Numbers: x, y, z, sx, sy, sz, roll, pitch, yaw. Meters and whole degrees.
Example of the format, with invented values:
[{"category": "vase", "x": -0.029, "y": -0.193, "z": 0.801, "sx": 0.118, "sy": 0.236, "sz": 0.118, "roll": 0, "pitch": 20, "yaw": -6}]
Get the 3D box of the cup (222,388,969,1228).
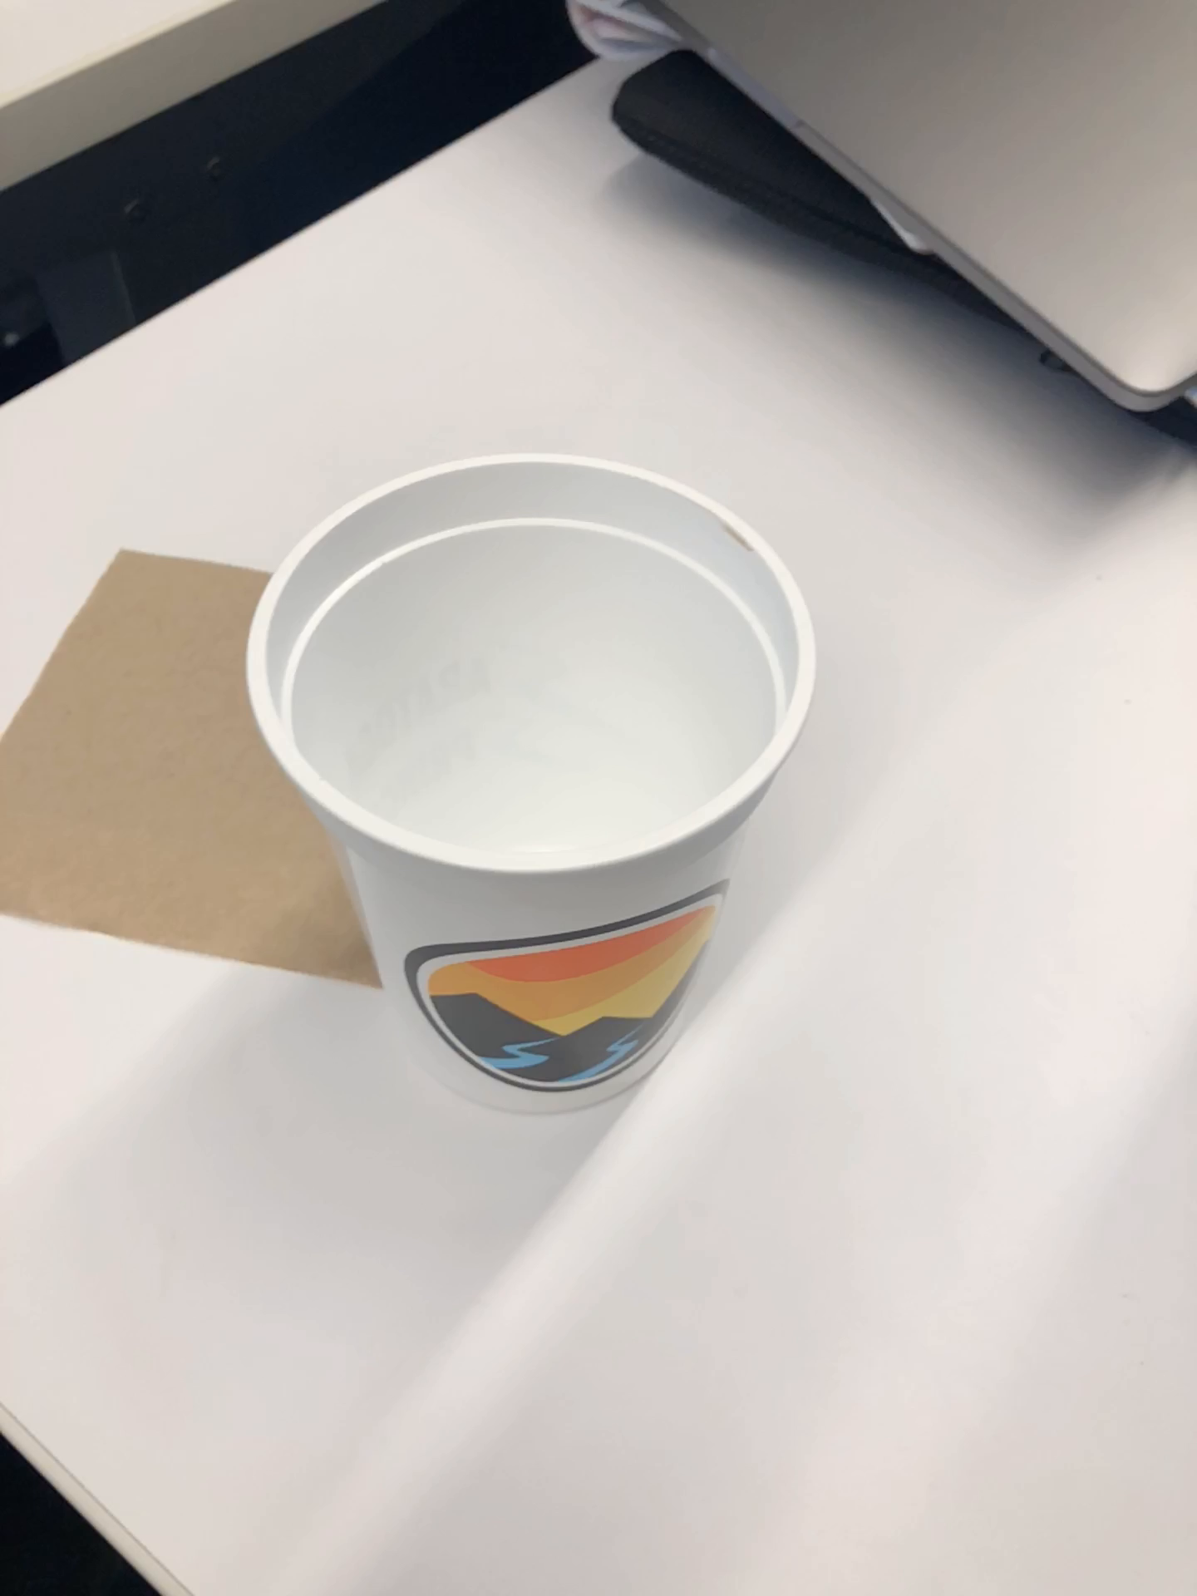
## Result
[{"category": "cup", "x": -0.007, "y": 0.003, "z": 0.235, "sx": 0.090, "sy": 0.100, "sz": 0.090, "roll": 1, "pitch": 51, "yaw": -1}]
